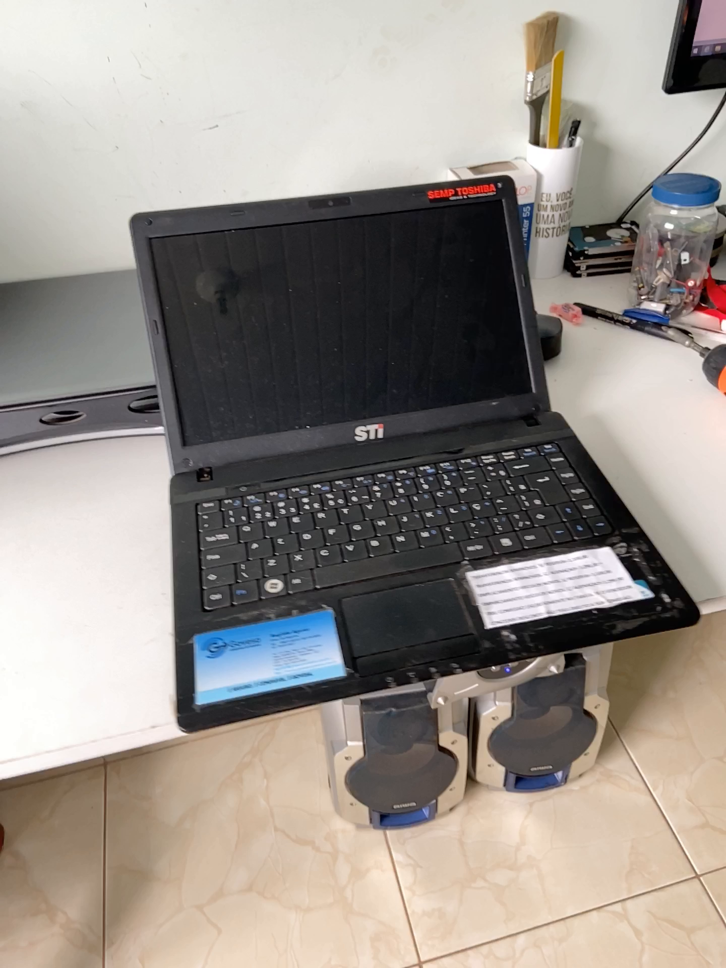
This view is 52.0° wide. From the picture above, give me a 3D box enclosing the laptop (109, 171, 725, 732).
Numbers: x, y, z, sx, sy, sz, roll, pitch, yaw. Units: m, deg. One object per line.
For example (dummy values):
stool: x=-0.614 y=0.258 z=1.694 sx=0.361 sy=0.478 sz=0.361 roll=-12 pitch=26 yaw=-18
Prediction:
laptop: x=0.014 y=-0.068 z=0.550 sx=0.335 sy=0.159 sz=0.386 roll=-10 pitch=41 yaw=-8
